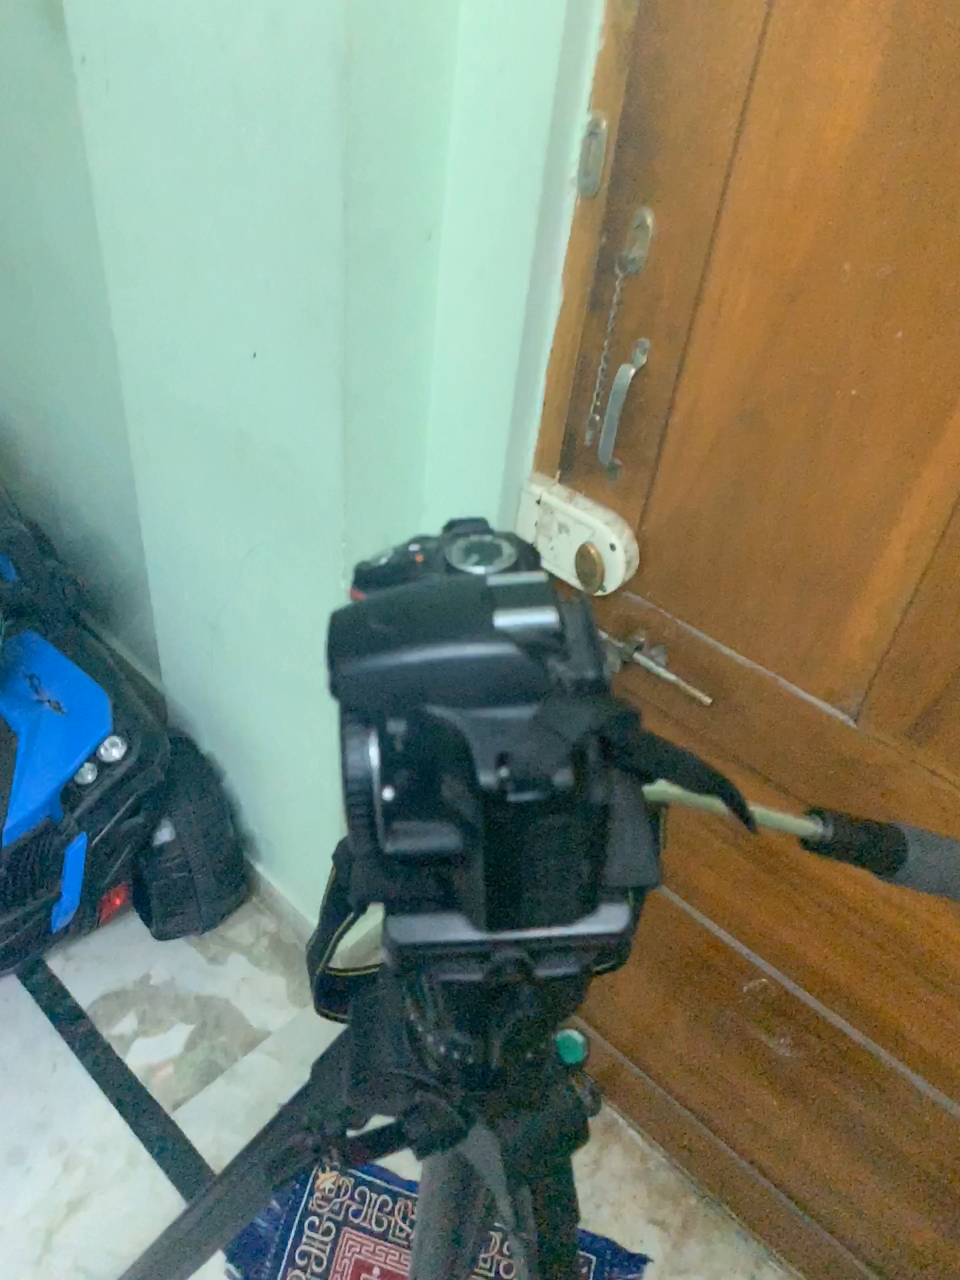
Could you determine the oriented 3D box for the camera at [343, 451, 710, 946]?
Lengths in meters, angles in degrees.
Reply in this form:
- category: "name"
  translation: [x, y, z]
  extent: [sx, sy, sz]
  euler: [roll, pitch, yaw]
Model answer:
- category: "camera"
  translation: [0.003, 0.015, 0.301]
  extent: [0.086, 0.096, 0.118]
  euler: [1, 39, -7]
